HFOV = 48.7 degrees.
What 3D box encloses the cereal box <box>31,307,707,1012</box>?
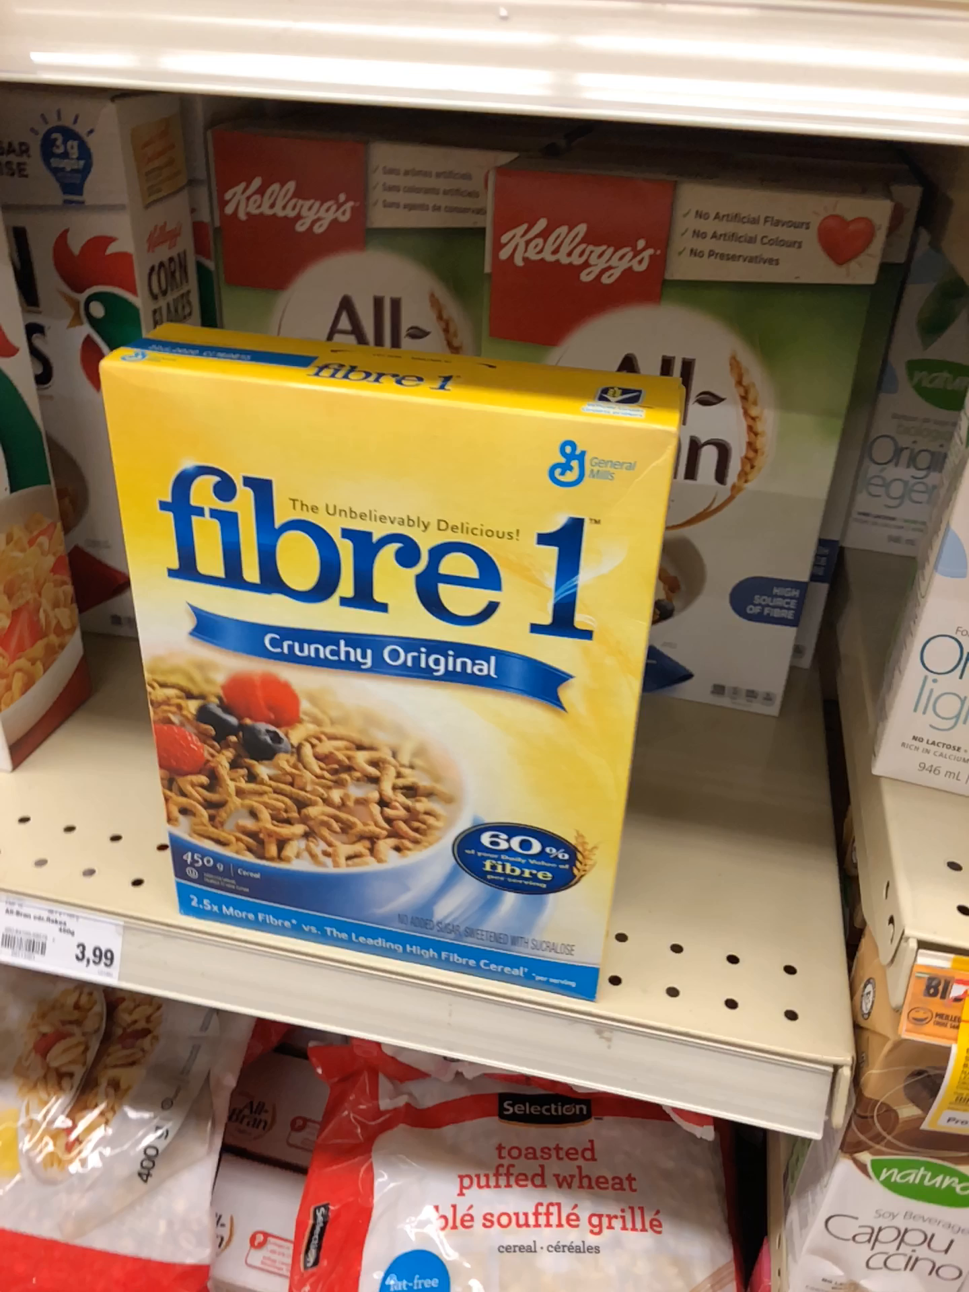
[{"bbox_3d":[-0.039,0.013,0.413,0.210,0.248,0.060,8,32,10],"label":"cereal box"}]
